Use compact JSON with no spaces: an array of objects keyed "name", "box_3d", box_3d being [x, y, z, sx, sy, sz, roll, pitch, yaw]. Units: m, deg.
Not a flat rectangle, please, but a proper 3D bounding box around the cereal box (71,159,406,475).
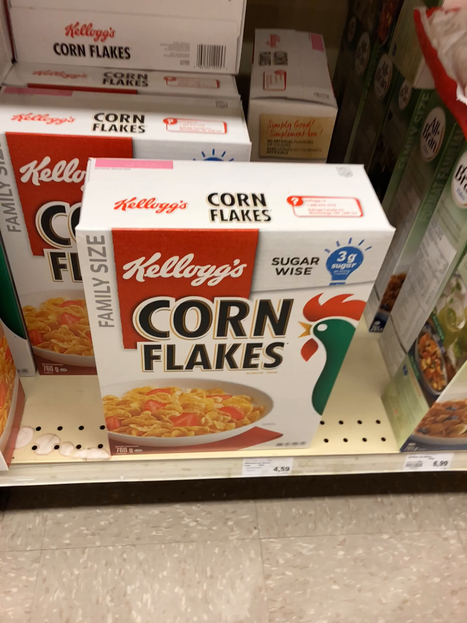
[{"name":"cereal box","box_3d":[-0.013,0.034,0.580,0.270,0.387,0.101,-1,45,-9]}]
